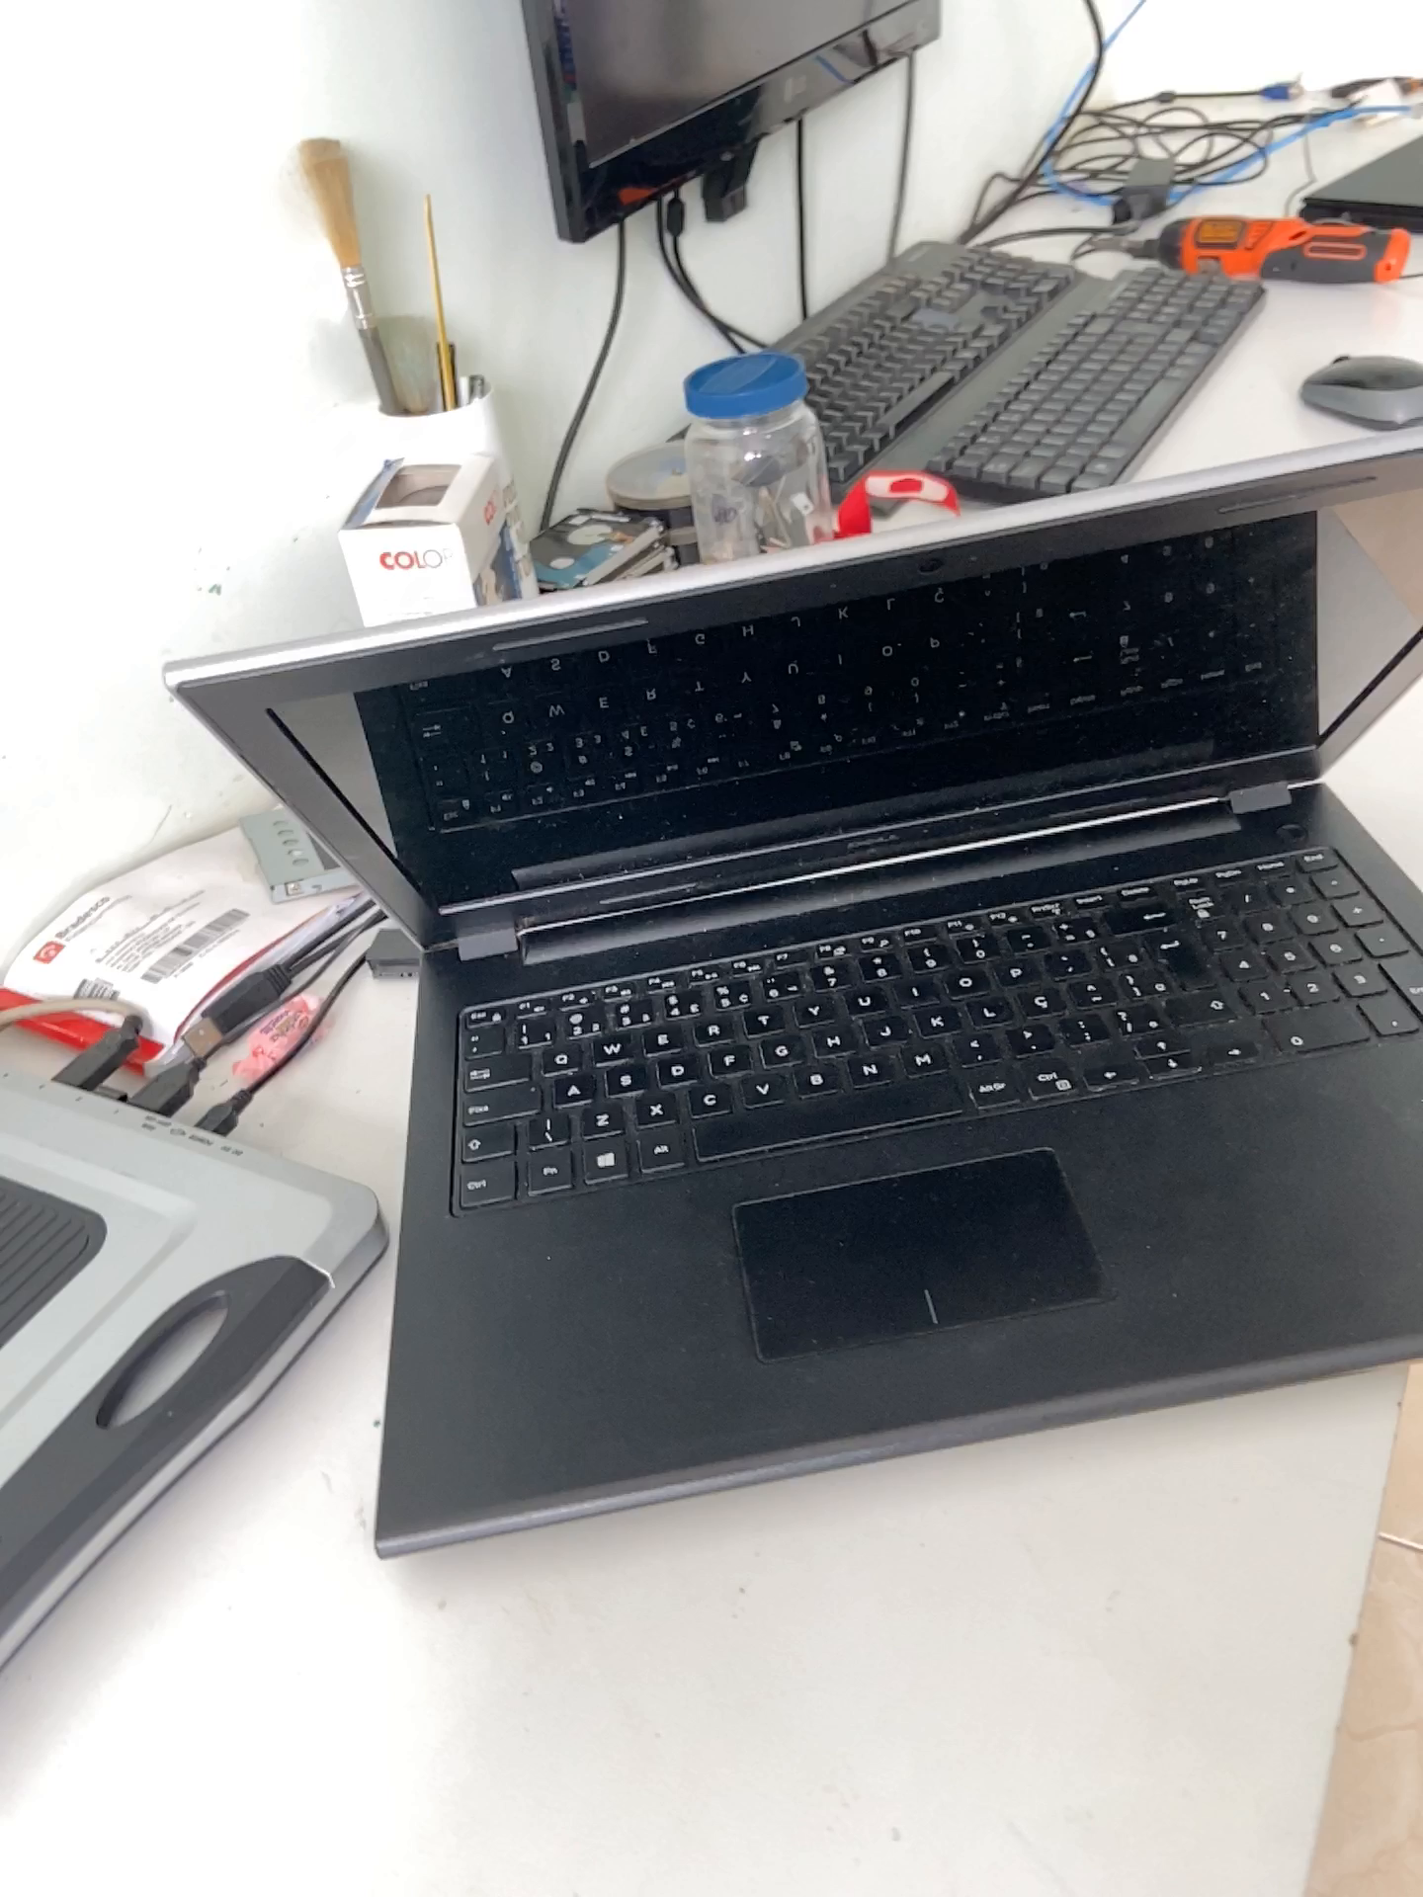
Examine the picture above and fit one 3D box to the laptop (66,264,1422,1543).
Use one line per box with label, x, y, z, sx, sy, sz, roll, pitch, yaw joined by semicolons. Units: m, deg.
laptop;0.068;-0.034;0.433;0.374;0.204;0.258;-10;37;-1
